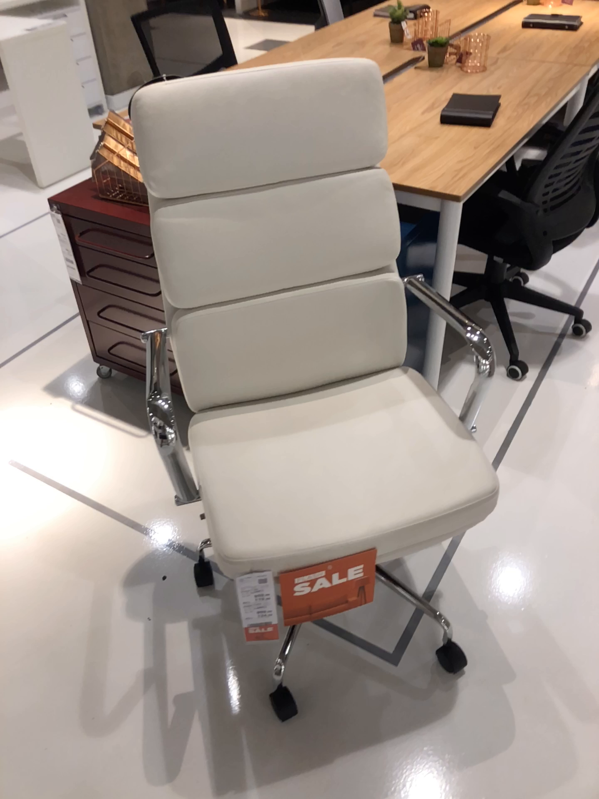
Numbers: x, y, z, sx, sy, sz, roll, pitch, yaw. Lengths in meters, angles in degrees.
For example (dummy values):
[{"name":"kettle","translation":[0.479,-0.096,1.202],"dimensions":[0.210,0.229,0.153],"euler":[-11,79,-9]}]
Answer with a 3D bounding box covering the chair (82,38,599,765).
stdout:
[{"name":"chair","translation":[0.084,0.012,1.190],"dimensions":[0.660,1.012,0.655],"euler":[-13,41,-12]}]
